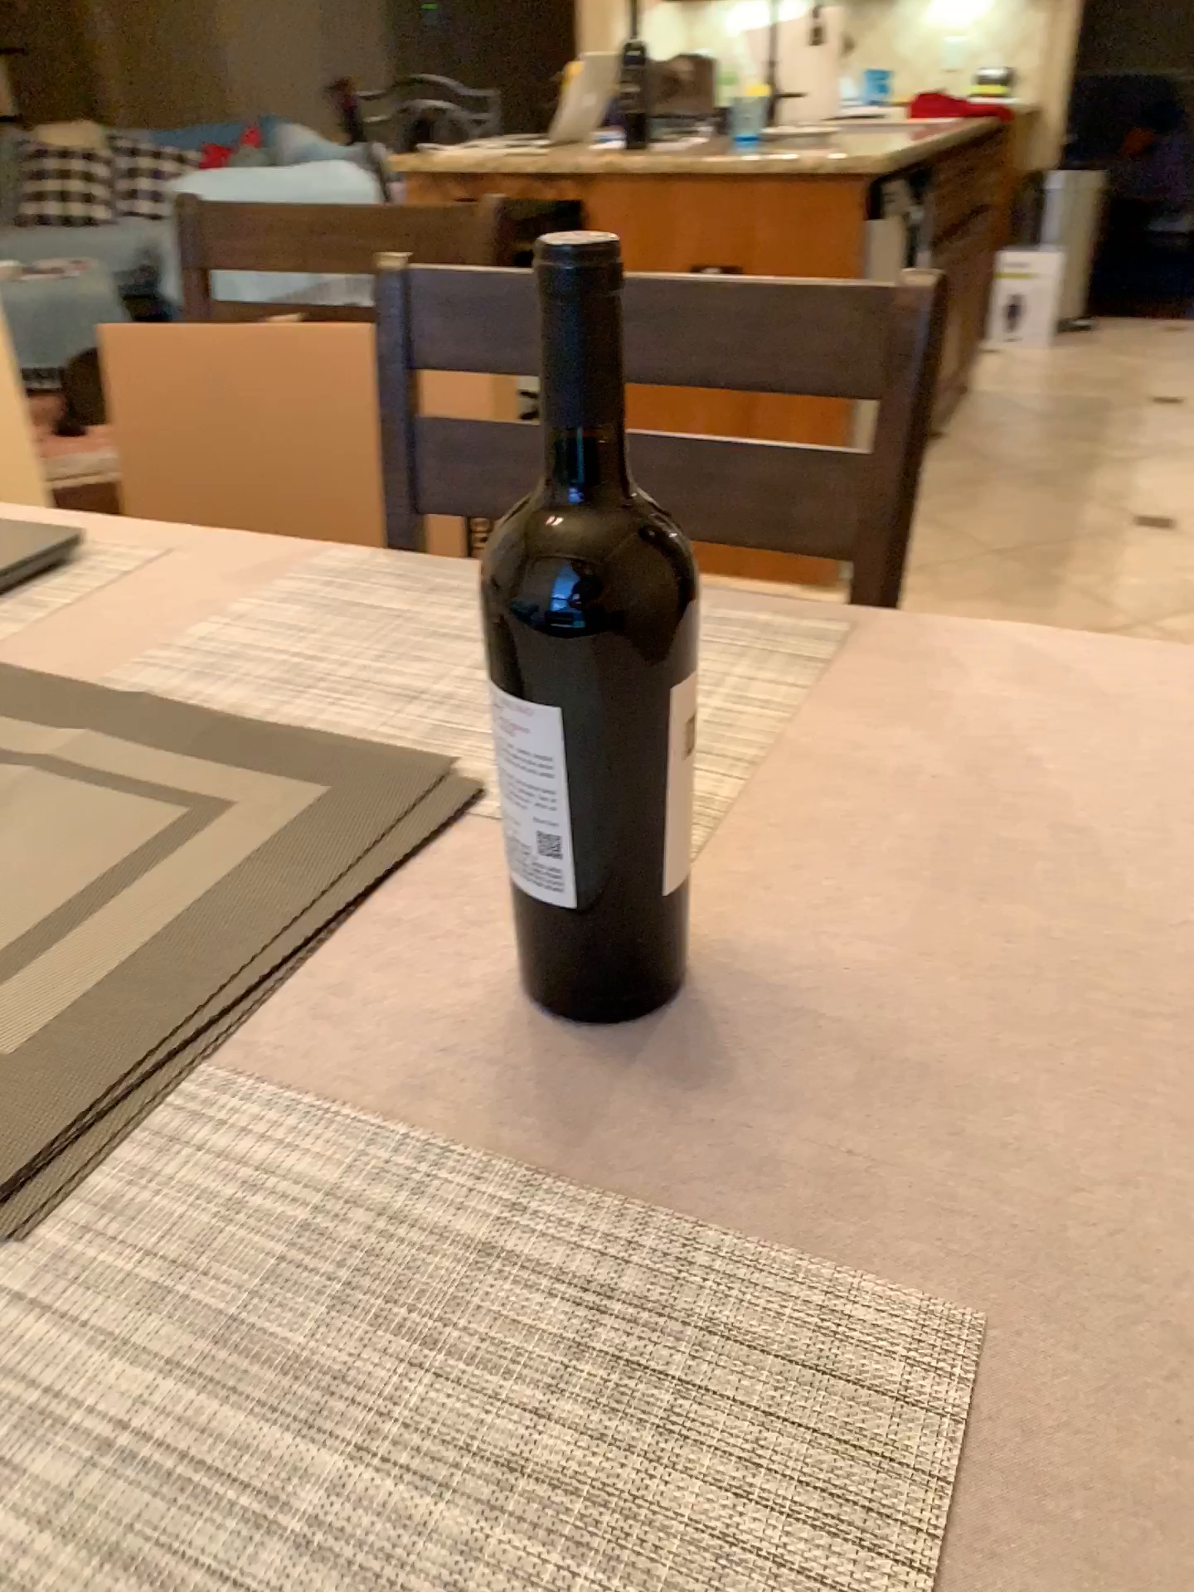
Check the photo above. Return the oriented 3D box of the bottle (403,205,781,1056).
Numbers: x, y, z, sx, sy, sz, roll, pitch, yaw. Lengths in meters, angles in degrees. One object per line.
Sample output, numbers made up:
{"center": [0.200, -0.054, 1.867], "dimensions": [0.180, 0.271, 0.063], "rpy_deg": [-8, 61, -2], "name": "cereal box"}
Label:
{"center": [0.001, -0.055, 0.470], "dimensions": [0.090, 0.298, 0.084], "rpy_deg": [-1, 30, 1], "name": "bottle"}
